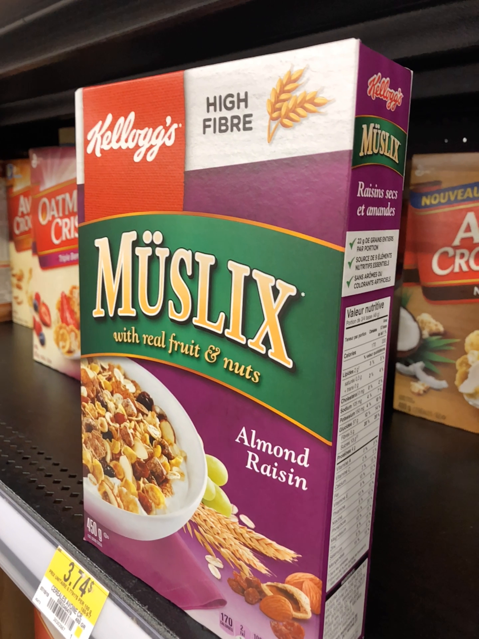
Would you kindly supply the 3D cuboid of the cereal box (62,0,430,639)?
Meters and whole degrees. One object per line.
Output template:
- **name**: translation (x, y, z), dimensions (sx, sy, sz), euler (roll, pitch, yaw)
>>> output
- **cereal box**: translation (-0.012, 0.008, 0.269), dimensions (0.170, 0.259, 0.060), euler (12, 16, 40)
